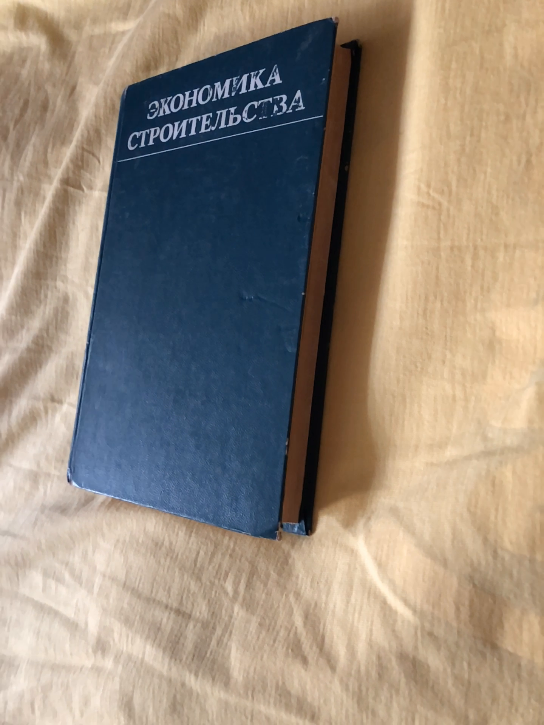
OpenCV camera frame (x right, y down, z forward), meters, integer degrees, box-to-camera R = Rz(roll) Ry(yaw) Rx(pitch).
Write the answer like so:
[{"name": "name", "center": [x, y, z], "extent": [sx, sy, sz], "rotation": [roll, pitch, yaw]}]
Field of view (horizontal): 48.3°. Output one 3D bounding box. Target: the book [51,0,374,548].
[{"name": "book", "center": [-0.031, -0.037, 0.263], "extent": [0.130, 0.030, 0.200], "rotation": [3, 84, 36]}]
